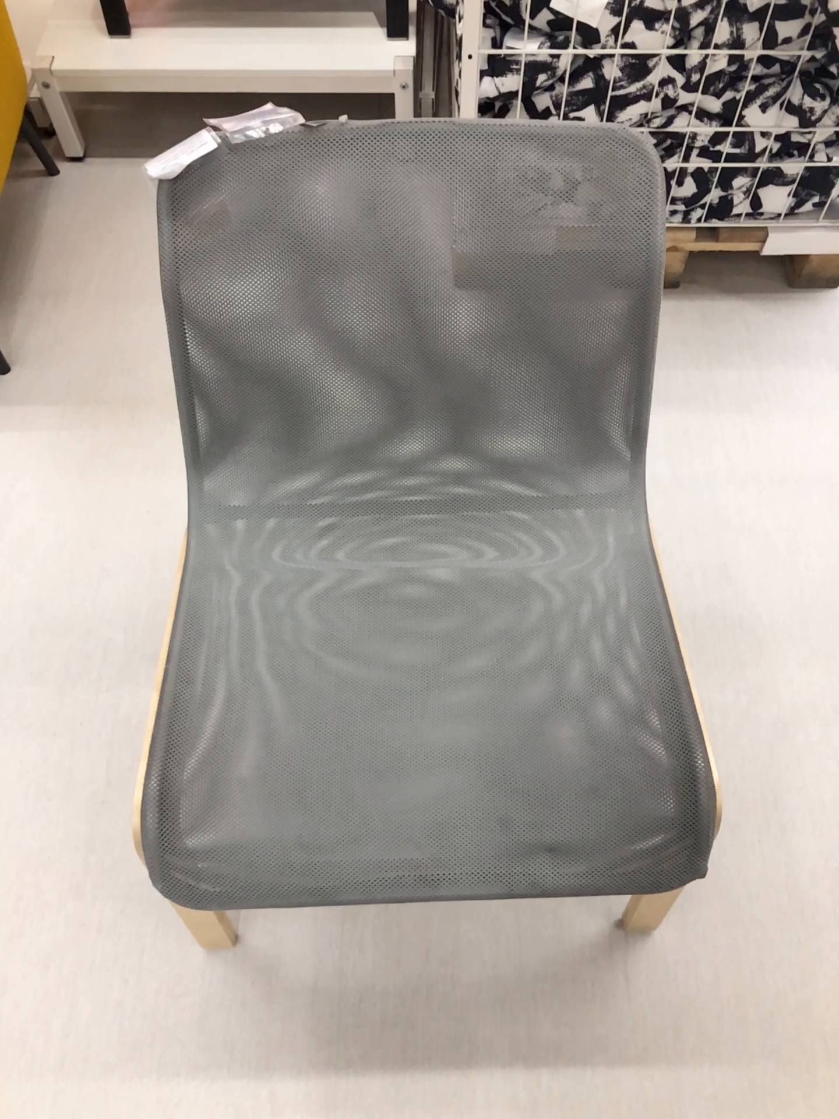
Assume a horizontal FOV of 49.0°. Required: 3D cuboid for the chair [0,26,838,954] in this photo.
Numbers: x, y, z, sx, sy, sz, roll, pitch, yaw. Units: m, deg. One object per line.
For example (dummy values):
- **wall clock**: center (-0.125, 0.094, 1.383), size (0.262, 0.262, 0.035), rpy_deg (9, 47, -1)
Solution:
- **chair**: center (0.008, 0.022, 1.003), size (0.630, 0.827, 0.643), rpy_deg (-1, 60, -1)
